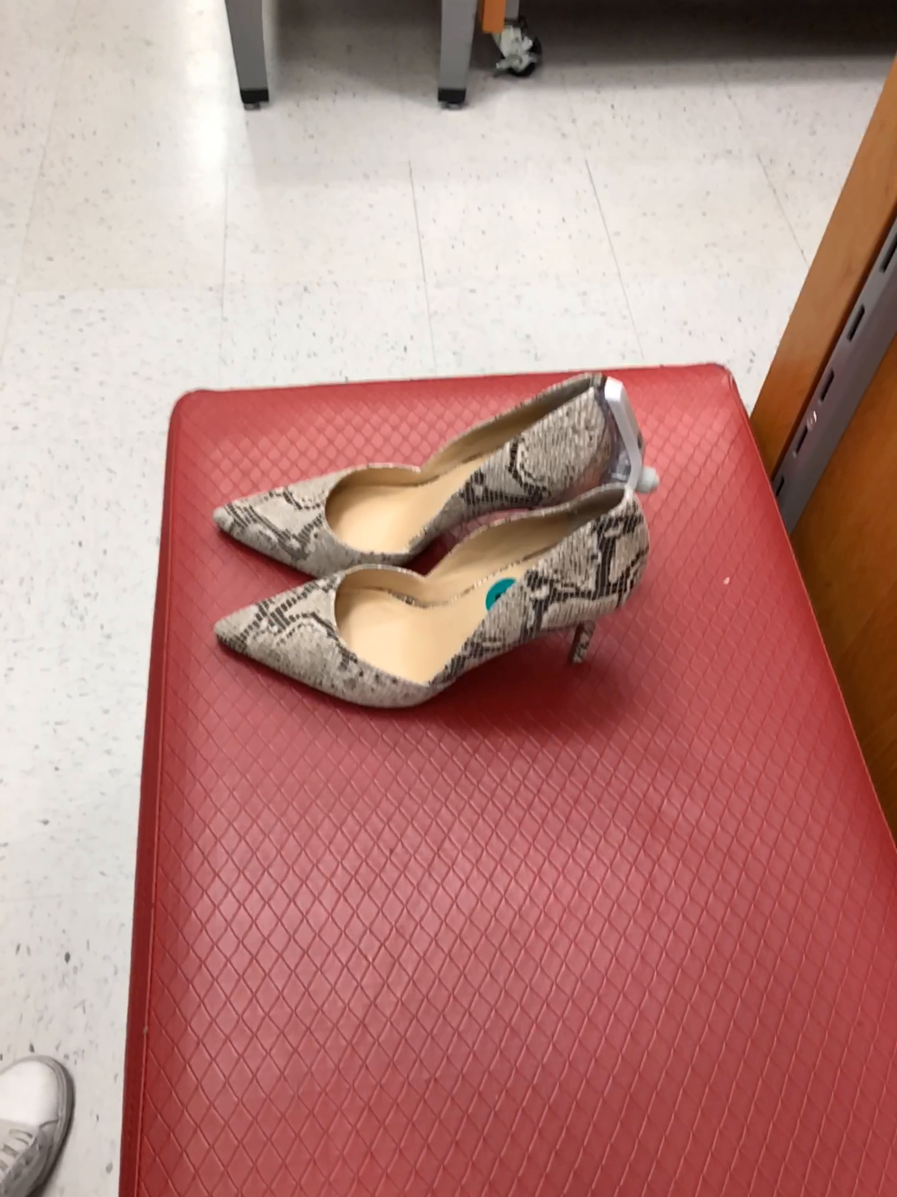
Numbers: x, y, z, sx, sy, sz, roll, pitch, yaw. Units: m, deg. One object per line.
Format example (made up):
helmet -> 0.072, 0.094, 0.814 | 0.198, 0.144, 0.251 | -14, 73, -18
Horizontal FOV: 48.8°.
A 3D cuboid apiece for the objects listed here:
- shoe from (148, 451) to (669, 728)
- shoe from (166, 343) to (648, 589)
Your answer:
shoe -> -0.018, -0.003, 0.557 | 0.259, 0.102, 0.093 | 5, 56, 1
shoe -> -0.023, -0.079, 0.609 | 0.262, 0.112, 0.092 | 1, 56, -1
